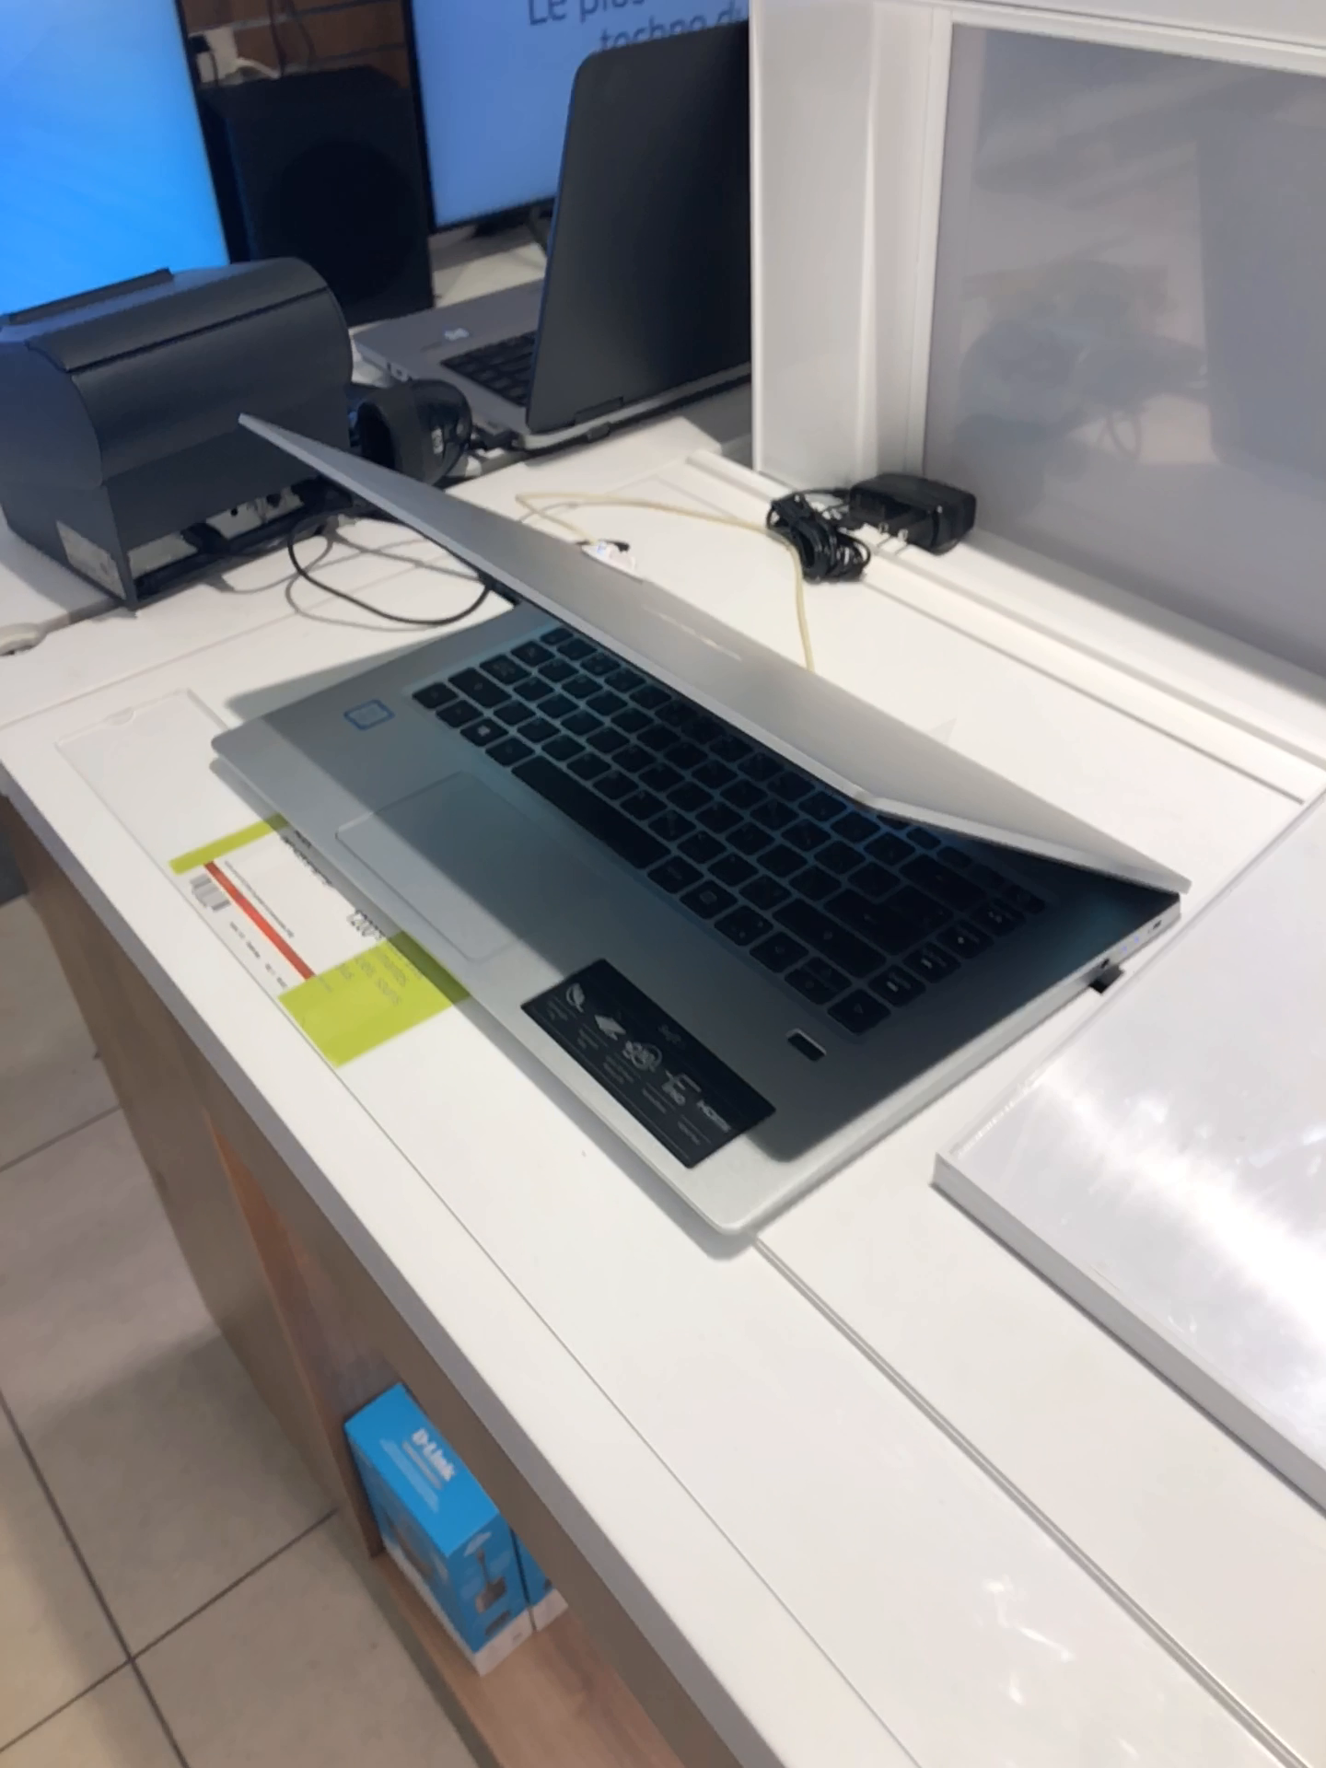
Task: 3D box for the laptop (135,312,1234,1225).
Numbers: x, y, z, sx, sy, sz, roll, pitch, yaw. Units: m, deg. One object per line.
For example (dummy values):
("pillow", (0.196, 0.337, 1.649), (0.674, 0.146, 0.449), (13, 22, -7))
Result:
("laptop", (-0.011, -0.079, 0.560), (0.217, 0.132, 0.348), (-30, 47, -27))
